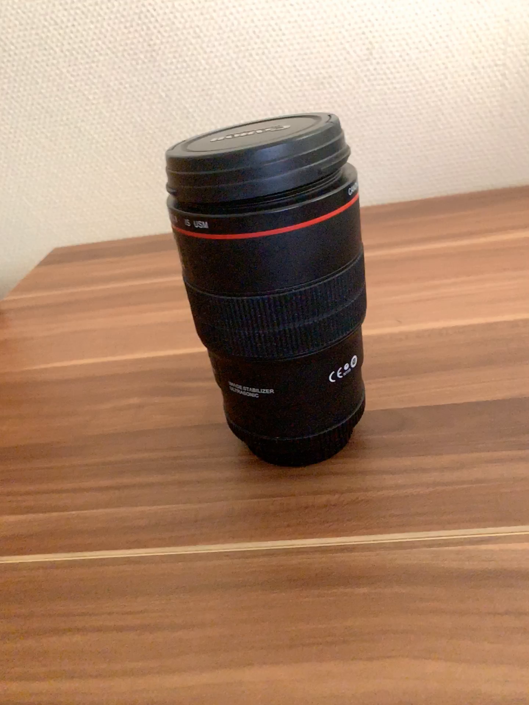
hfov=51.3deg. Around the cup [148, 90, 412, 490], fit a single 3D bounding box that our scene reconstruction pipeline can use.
[{"bbox_3d":[0.009,-0.026,0.236,0.080,0.139,0.070,-14,31,-7],"label":"cup"}]
